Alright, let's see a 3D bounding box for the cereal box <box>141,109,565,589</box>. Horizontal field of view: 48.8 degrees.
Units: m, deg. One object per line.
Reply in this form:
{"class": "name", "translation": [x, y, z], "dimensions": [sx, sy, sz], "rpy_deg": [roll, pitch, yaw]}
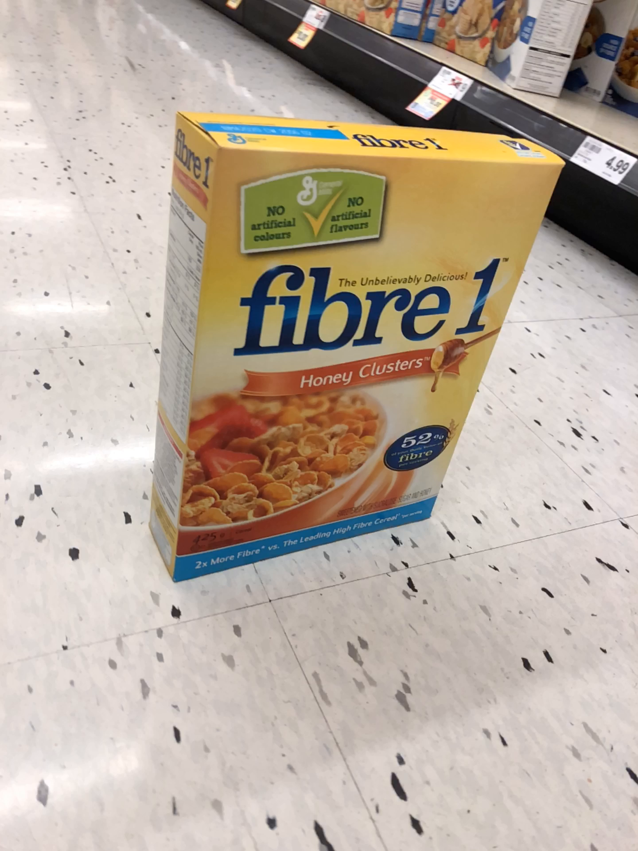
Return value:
{"class": "cereal box", "translation": [0.007, -0.033, 0.397], "dimensions": [0.190, 0.248, 0.050], "rpy_deg": [-9, 40, -29]}
